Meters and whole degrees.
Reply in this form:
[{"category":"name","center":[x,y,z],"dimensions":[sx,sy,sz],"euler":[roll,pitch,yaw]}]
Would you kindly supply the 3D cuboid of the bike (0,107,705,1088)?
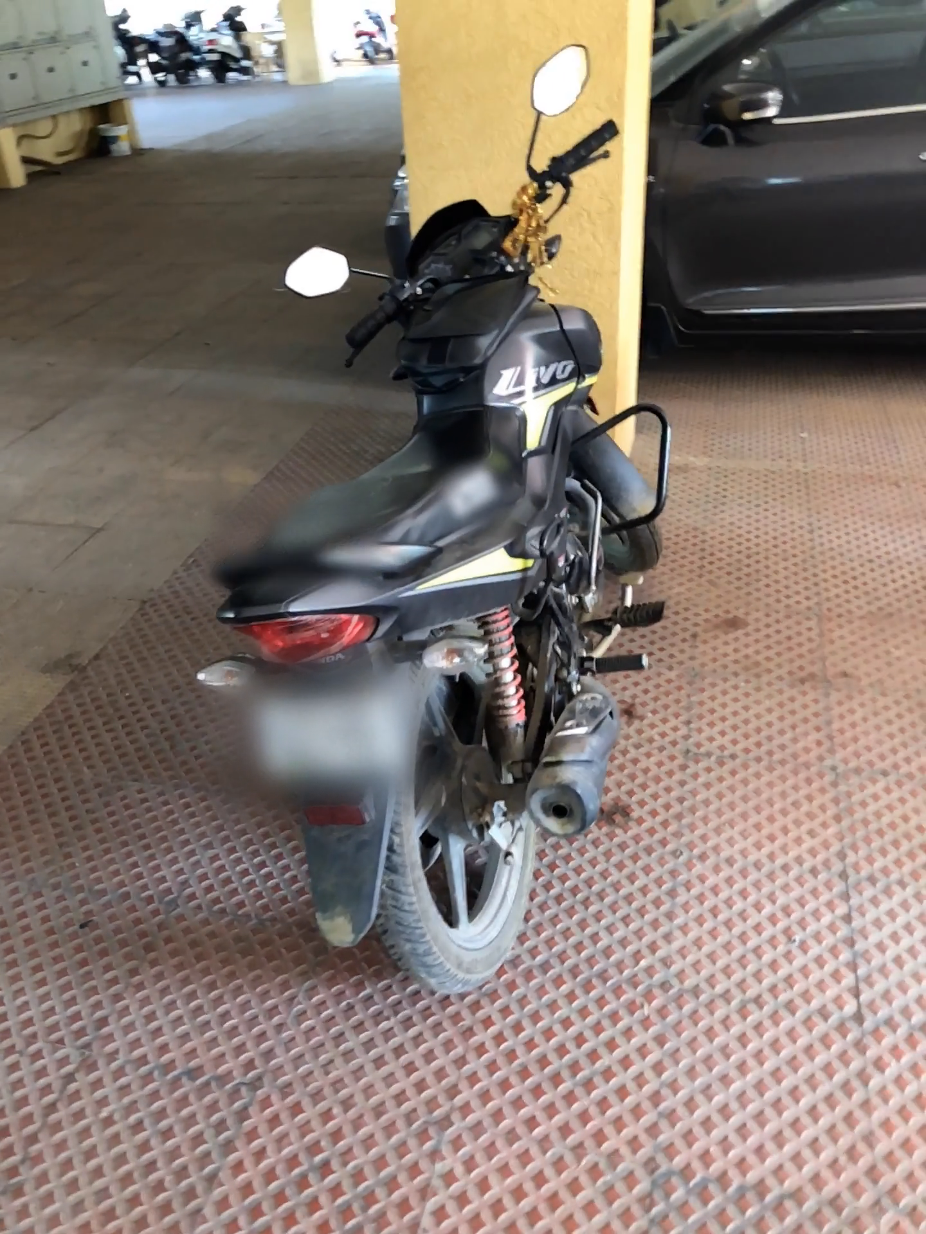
[{"category":"bike","center":[0.000,-0.237,1.903],"dimensions":[0.717,1.088,1.629],"euler":[5,34,14]}]
